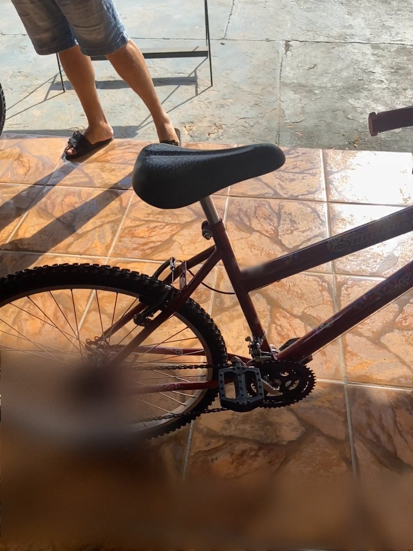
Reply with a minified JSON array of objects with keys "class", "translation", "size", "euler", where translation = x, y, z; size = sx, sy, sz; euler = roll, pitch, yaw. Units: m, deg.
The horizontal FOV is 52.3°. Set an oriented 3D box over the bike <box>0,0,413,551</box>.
[{"class":"bike","translation":[0.100,0.089,0.816],"size":[1.408,1.081,0.552],"euler":[5,49,9]}]
